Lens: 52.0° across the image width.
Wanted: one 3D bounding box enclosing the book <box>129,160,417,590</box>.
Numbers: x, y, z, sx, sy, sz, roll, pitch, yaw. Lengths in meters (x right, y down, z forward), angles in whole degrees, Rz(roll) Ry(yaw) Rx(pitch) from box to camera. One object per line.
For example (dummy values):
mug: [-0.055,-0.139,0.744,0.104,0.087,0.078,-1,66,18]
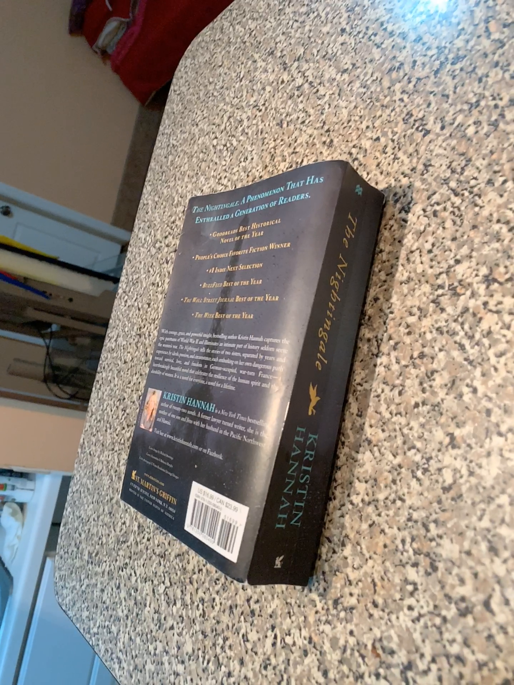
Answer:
book: [0.001,0.014,0.320,0.140,0.056,0.207,6,81,54]
